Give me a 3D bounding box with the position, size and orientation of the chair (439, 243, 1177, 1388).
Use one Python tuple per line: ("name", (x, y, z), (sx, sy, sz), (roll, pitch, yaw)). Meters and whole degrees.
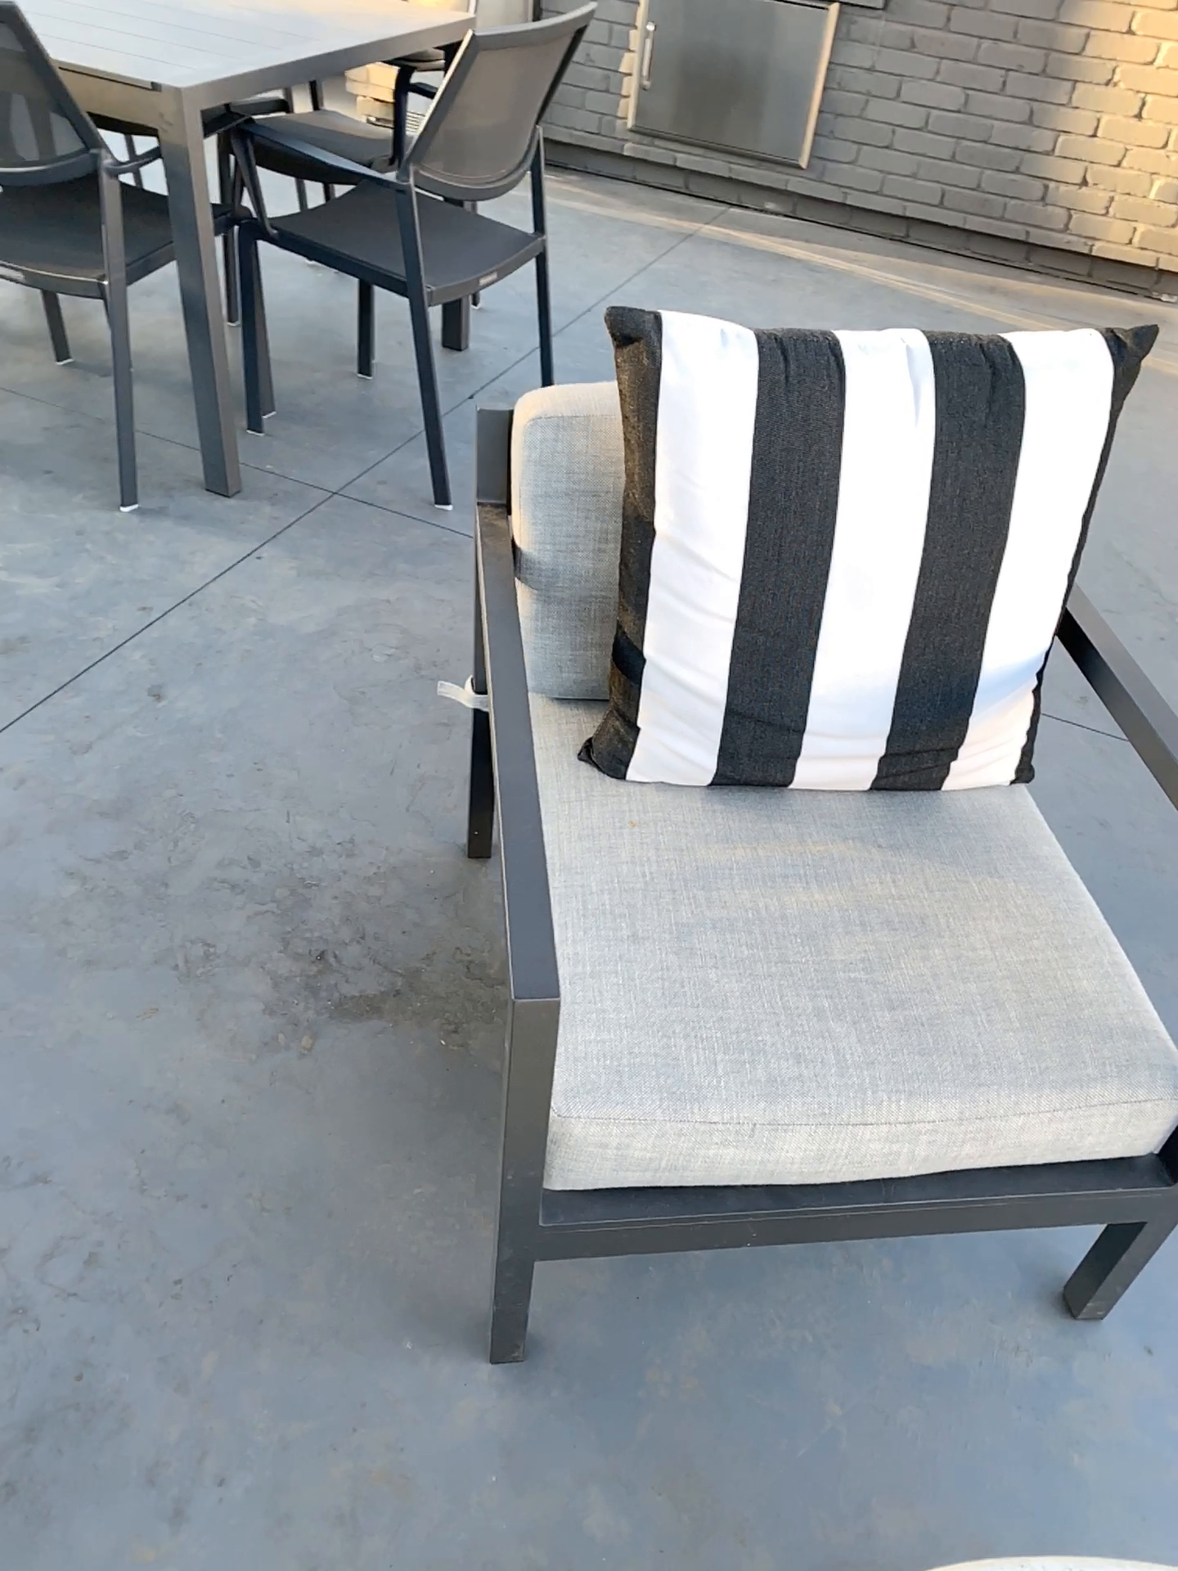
("chair", (0.230, 0.011, 1.205), (0.730, 0.796, 0.754), (-1, 41, -9))
